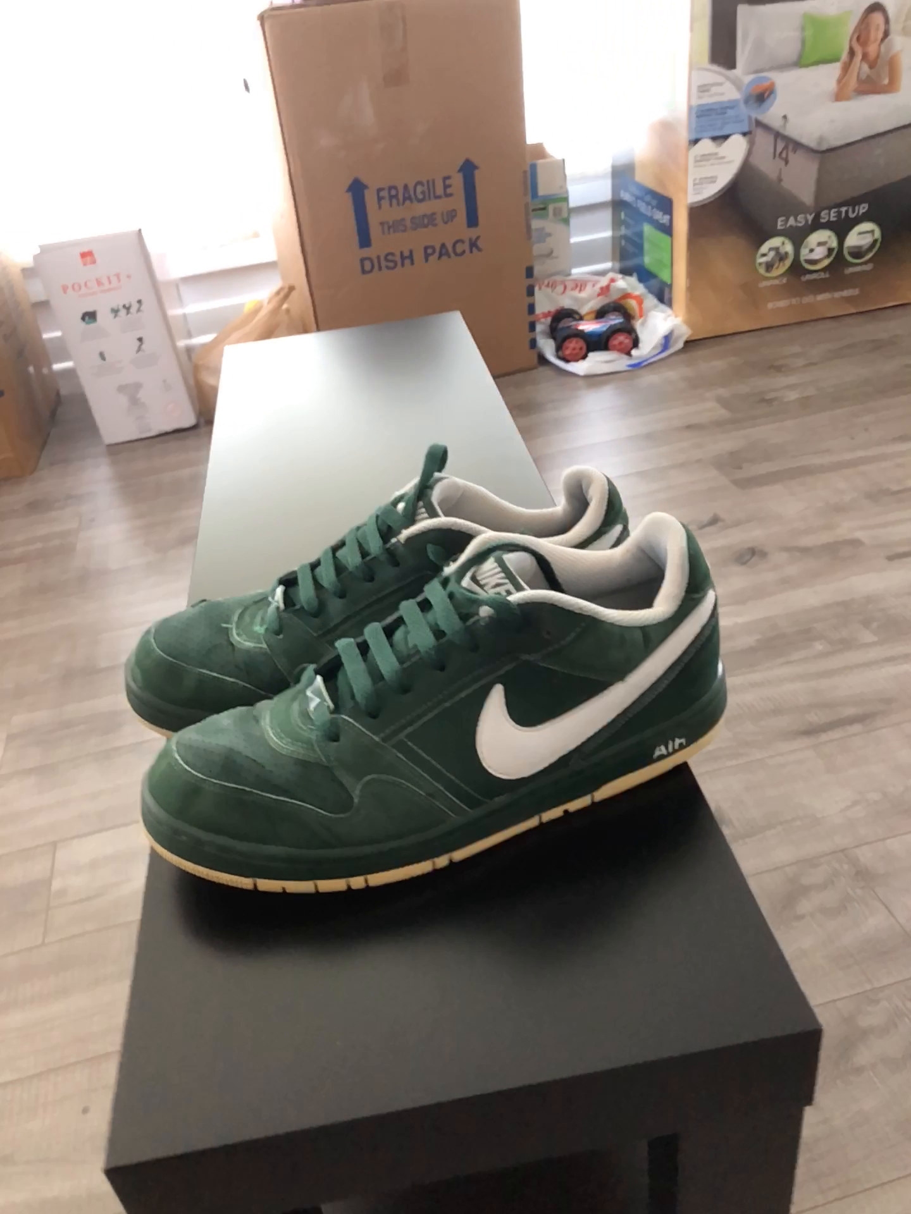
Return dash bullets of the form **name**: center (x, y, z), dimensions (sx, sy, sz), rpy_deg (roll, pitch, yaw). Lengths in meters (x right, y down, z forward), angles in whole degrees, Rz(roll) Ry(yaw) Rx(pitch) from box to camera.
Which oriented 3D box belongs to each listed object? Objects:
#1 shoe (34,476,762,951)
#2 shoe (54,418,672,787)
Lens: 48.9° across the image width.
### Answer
- **shoe**: center (-0.020, 0.041, 0.448), dimensions (0.280, 0.100, 0.111), rpy_deg (-14, 33, -4)
- **shoe**: center (-0.043, -0.006, 0.539), dimensions (0.292, 0.100, 0.100), rpy_deg (-13, 33, -2)
